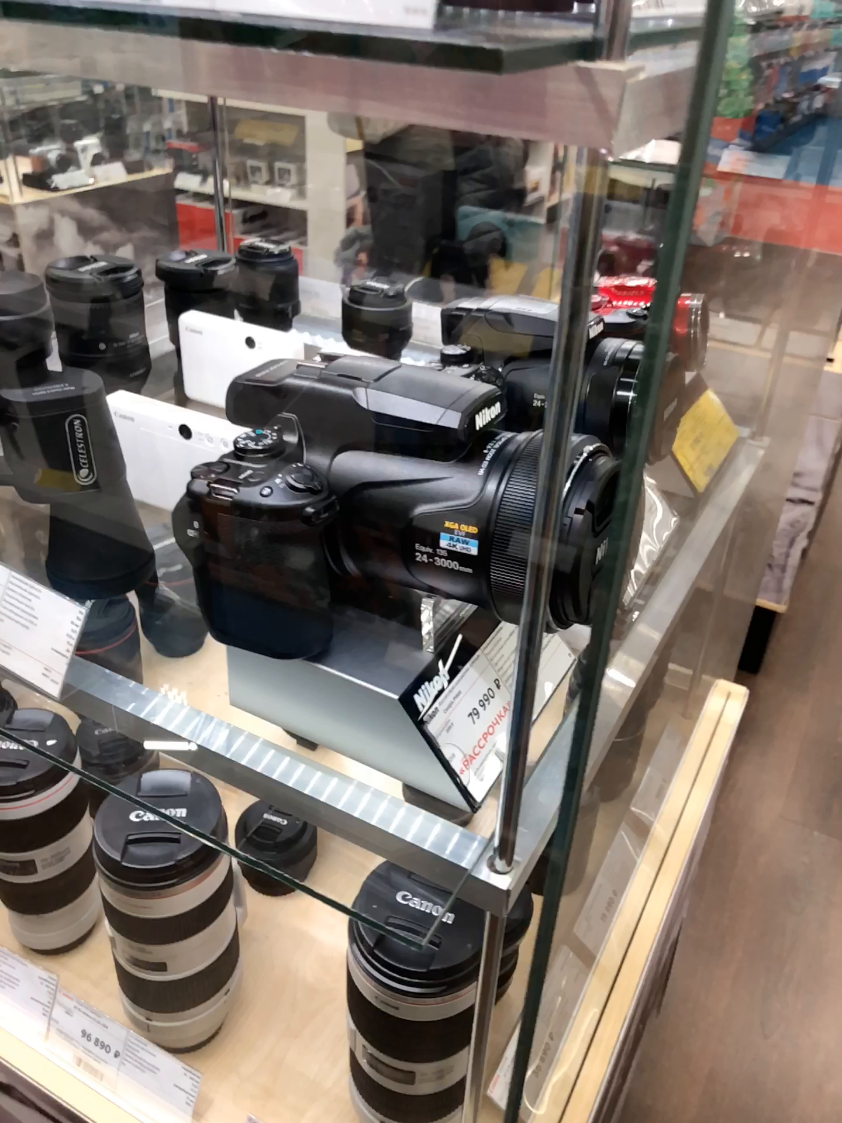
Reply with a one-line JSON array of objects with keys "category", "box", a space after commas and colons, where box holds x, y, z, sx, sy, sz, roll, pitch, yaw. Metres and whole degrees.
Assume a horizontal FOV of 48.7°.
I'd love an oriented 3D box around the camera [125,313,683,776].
[{"category": "camera", "box": [-0.004, -0.026, 0.452, 0.200, 0.113, 0.161, 19, 35, 23]}]
